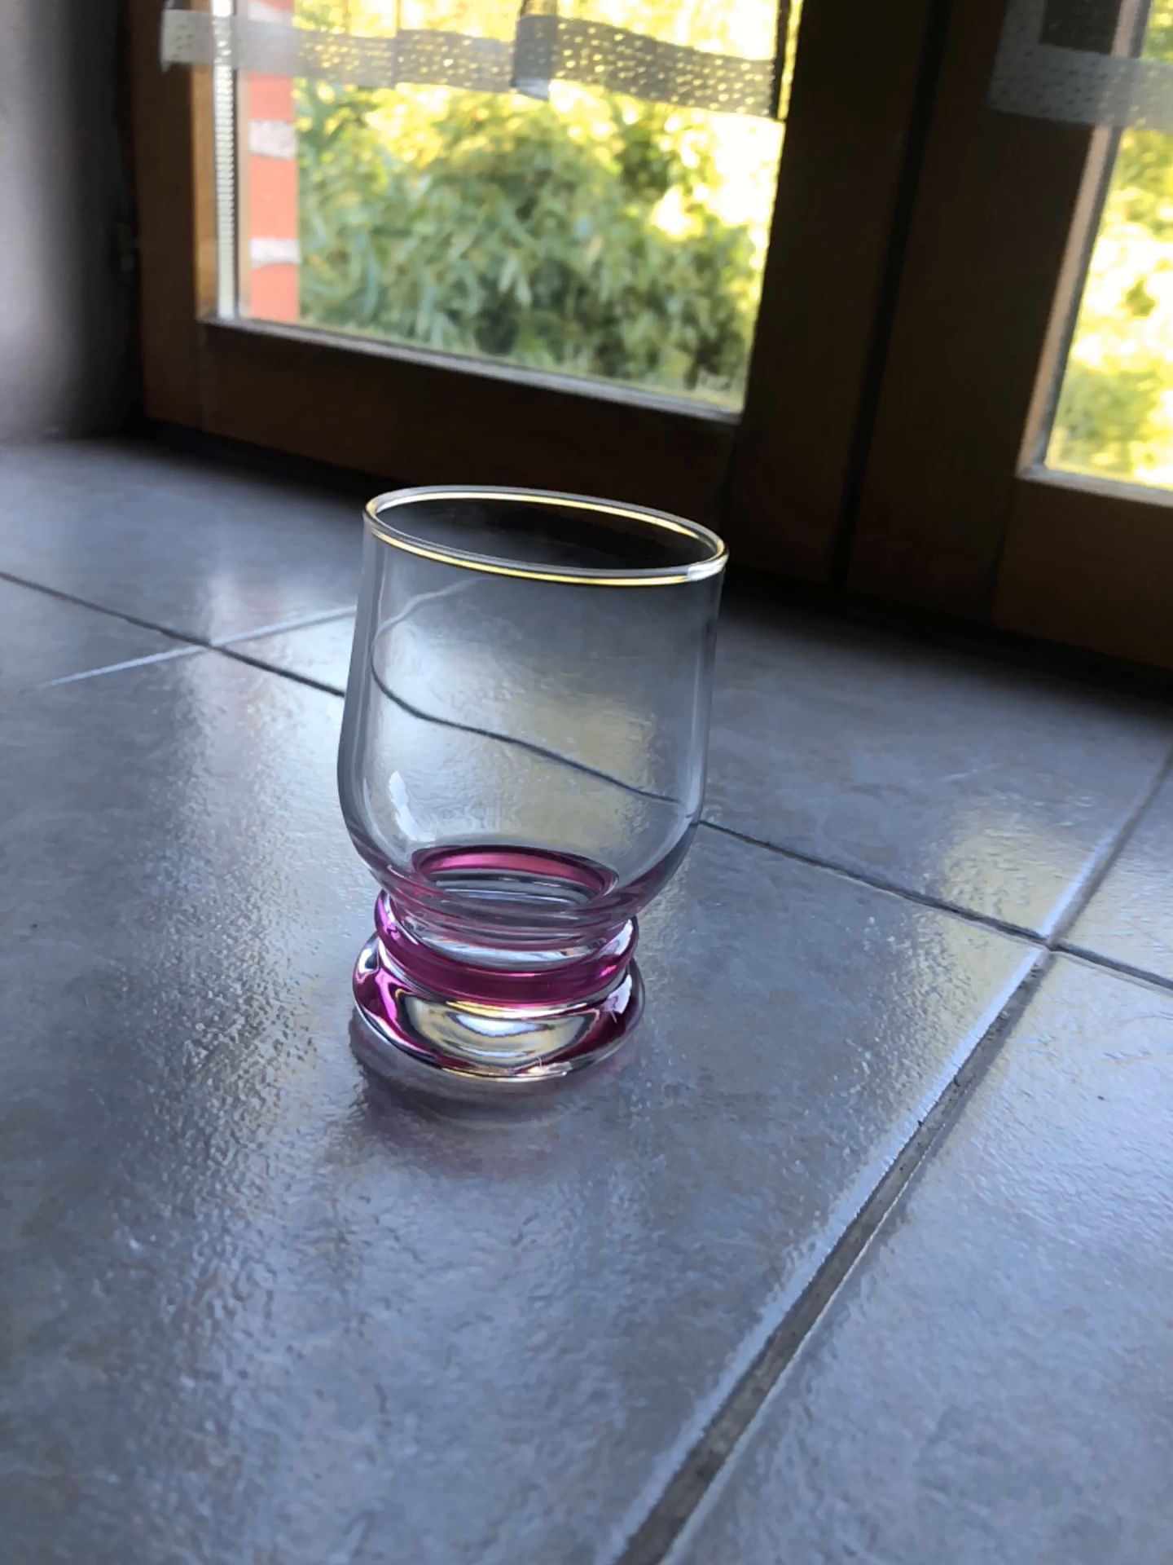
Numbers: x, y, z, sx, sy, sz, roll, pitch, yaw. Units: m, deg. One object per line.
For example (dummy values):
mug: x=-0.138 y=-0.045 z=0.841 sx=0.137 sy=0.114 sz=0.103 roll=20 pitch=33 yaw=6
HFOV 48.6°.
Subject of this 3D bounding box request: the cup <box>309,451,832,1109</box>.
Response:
cup: x=-0.009 y=-0.003 z=0.259 sx=0.079 sy=0.102 sz=0.079 roll=6 pitch=23 yaw=-3
